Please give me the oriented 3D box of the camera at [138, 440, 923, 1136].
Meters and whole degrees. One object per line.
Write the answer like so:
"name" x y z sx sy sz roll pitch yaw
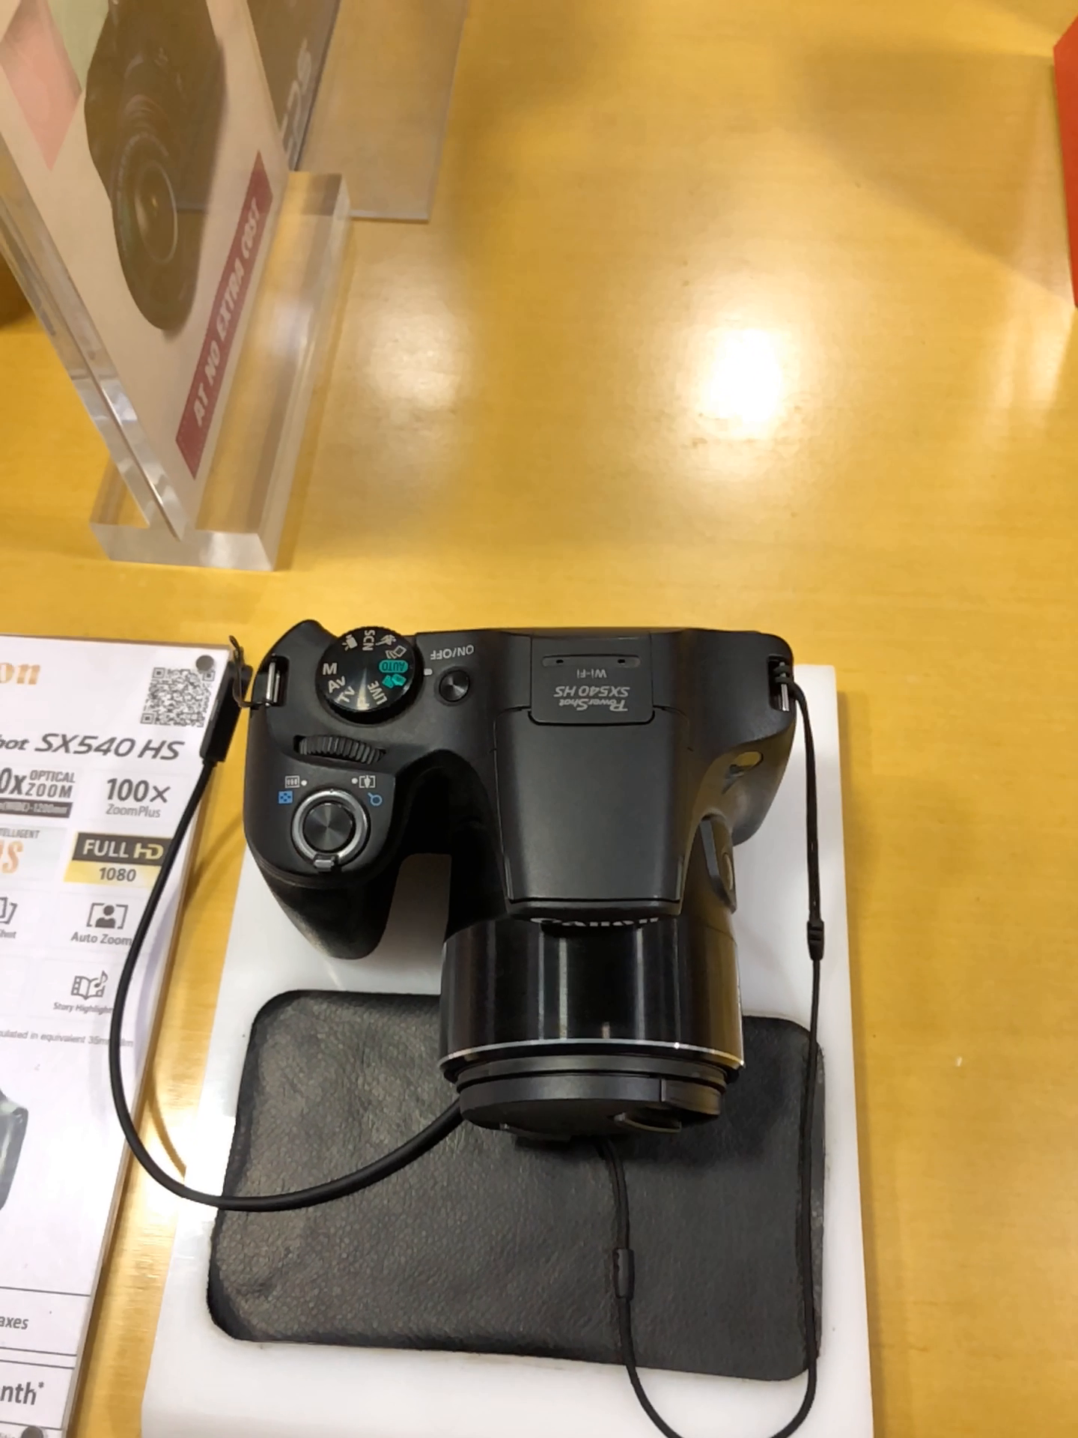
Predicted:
"camera" -0.001 0.019 0.268 0.130 0.090 0.130 0 64 1
